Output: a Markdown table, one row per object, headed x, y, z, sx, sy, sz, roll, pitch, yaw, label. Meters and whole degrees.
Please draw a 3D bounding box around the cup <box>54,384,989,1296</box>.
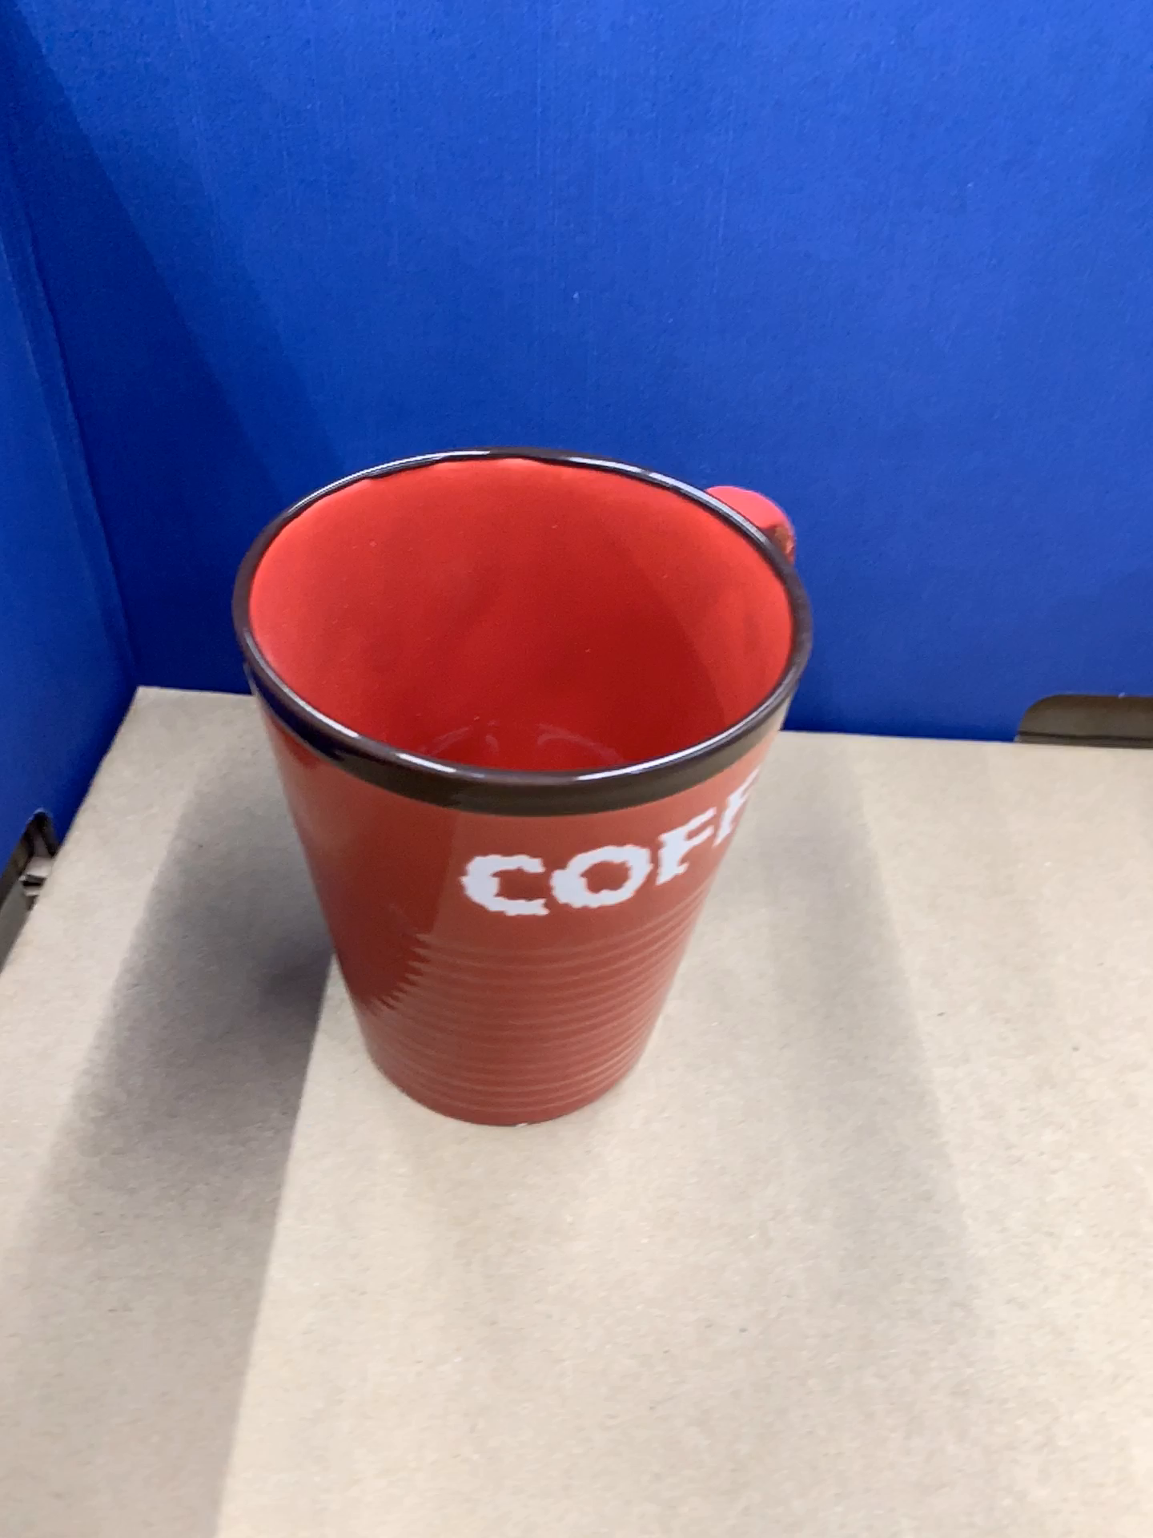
| x | y | z | sx | sy | sz | roll | pitch | yaw | label |
| --- | --- | --- | --- | --- | --- | --- | --- | --- | --- |
| -0.006 | 0.001 | 0.232 | 0.100 | 0.092 | 0.125 | 30 | 46 | 29 | cup |
